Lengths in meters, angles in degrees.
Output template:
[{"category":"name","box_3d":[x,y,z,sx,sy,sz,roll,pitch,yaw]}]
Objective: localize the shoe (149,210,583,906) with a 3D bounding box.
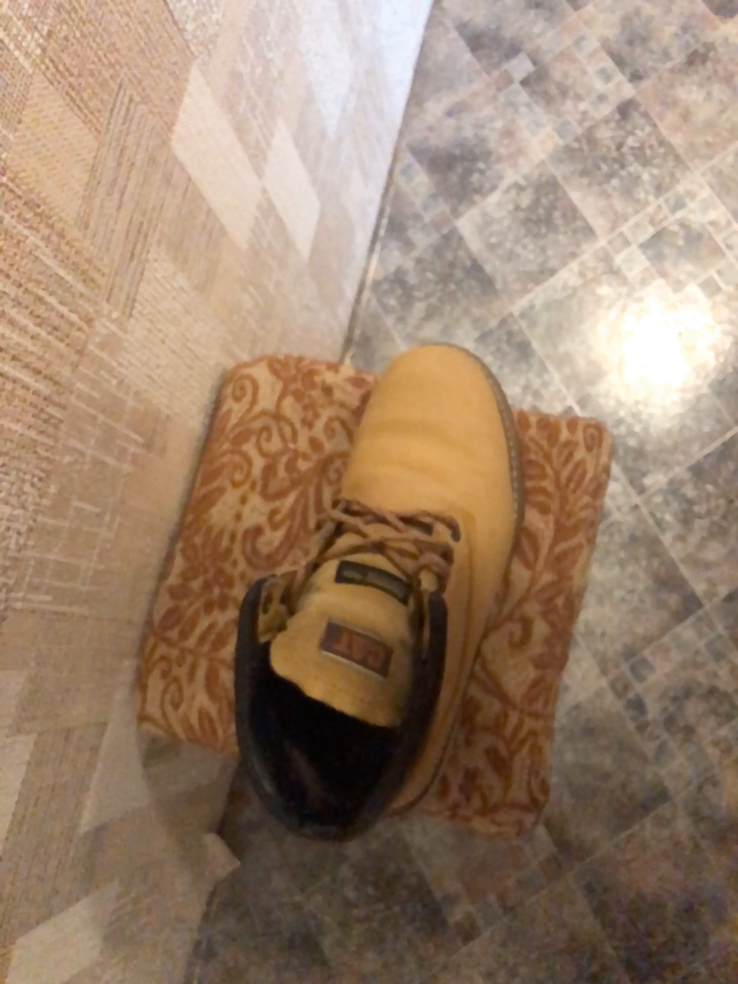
[{"category":"shoe","box_3d":[0.016,0.033,0.461,0.130,0.190,0.290,12,81,11]}]
